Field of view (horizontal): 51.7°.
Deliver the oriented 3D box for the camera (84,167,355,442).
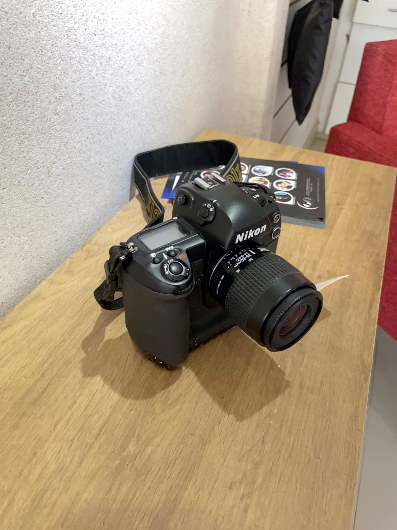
[{"bbox_3d":[0.013,0.022,0.372,0.150,0.129,0.160,-27,48,-29],"label":"camera"}]
